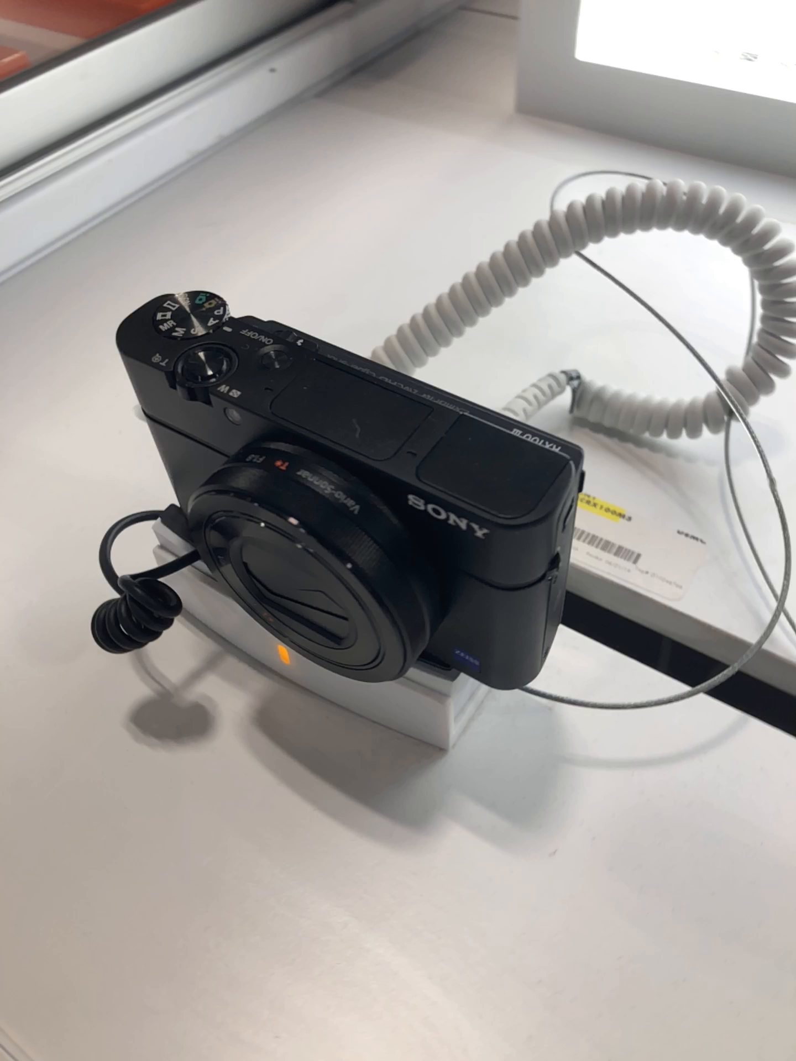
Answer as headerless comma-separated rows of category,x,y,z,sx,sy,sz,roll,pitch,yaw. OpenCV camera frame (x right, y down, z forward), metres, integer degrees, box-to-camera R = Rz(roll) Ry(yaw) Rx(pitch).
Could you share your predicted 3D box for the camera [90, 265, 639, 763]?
camera,-0.010,-0.005,0.197,0.110,0.070,0.030,27,55,24
